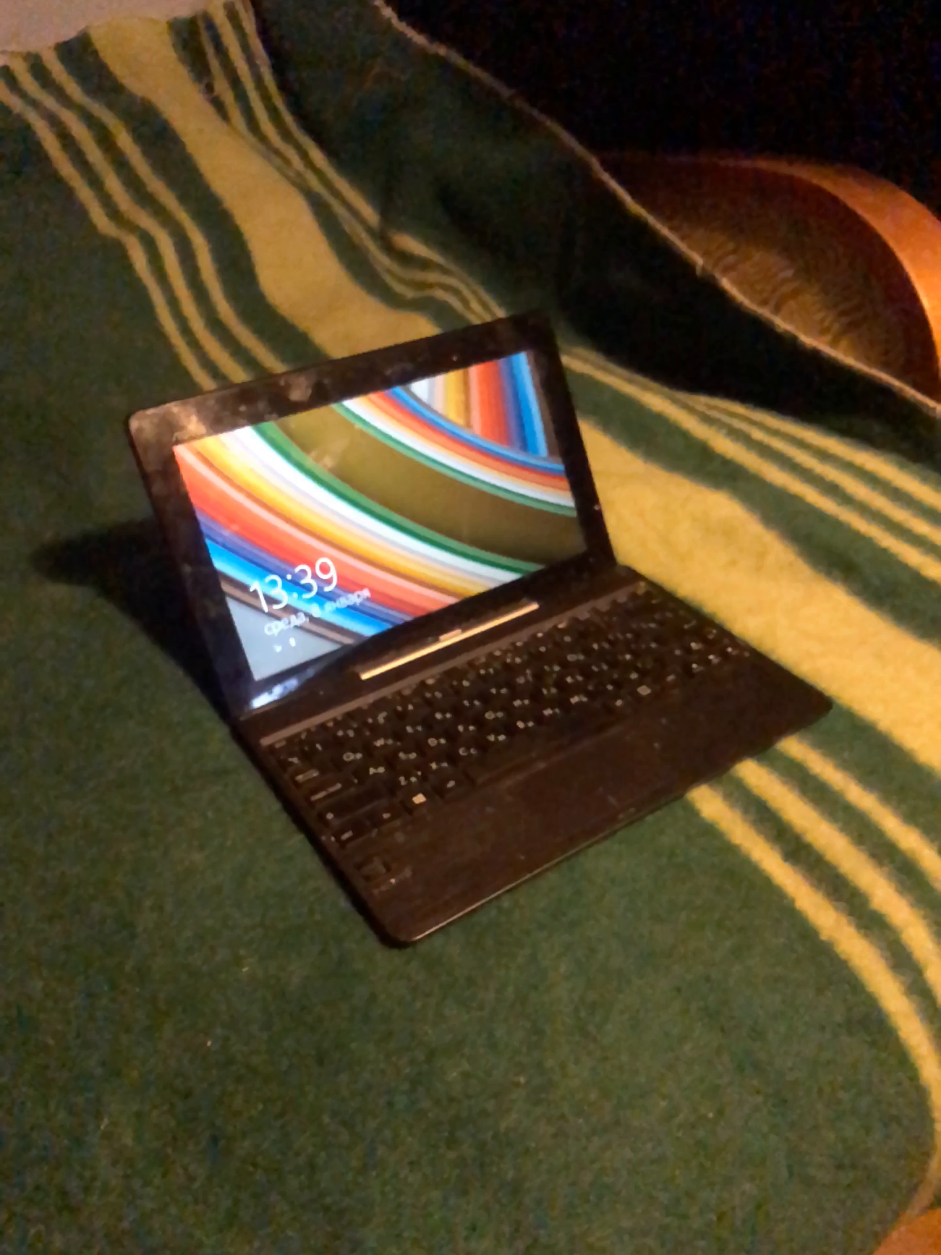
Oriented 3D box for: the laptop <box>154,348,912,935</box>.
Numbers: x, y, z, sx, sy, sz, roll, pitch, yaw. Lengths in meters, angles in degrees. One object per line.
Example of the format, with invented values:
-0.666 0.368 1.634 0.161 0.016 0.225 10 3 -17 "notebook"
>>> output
0.014 -0.022 0.533 0.257 0.116 0.258 -22 43 -27 "laptop"
